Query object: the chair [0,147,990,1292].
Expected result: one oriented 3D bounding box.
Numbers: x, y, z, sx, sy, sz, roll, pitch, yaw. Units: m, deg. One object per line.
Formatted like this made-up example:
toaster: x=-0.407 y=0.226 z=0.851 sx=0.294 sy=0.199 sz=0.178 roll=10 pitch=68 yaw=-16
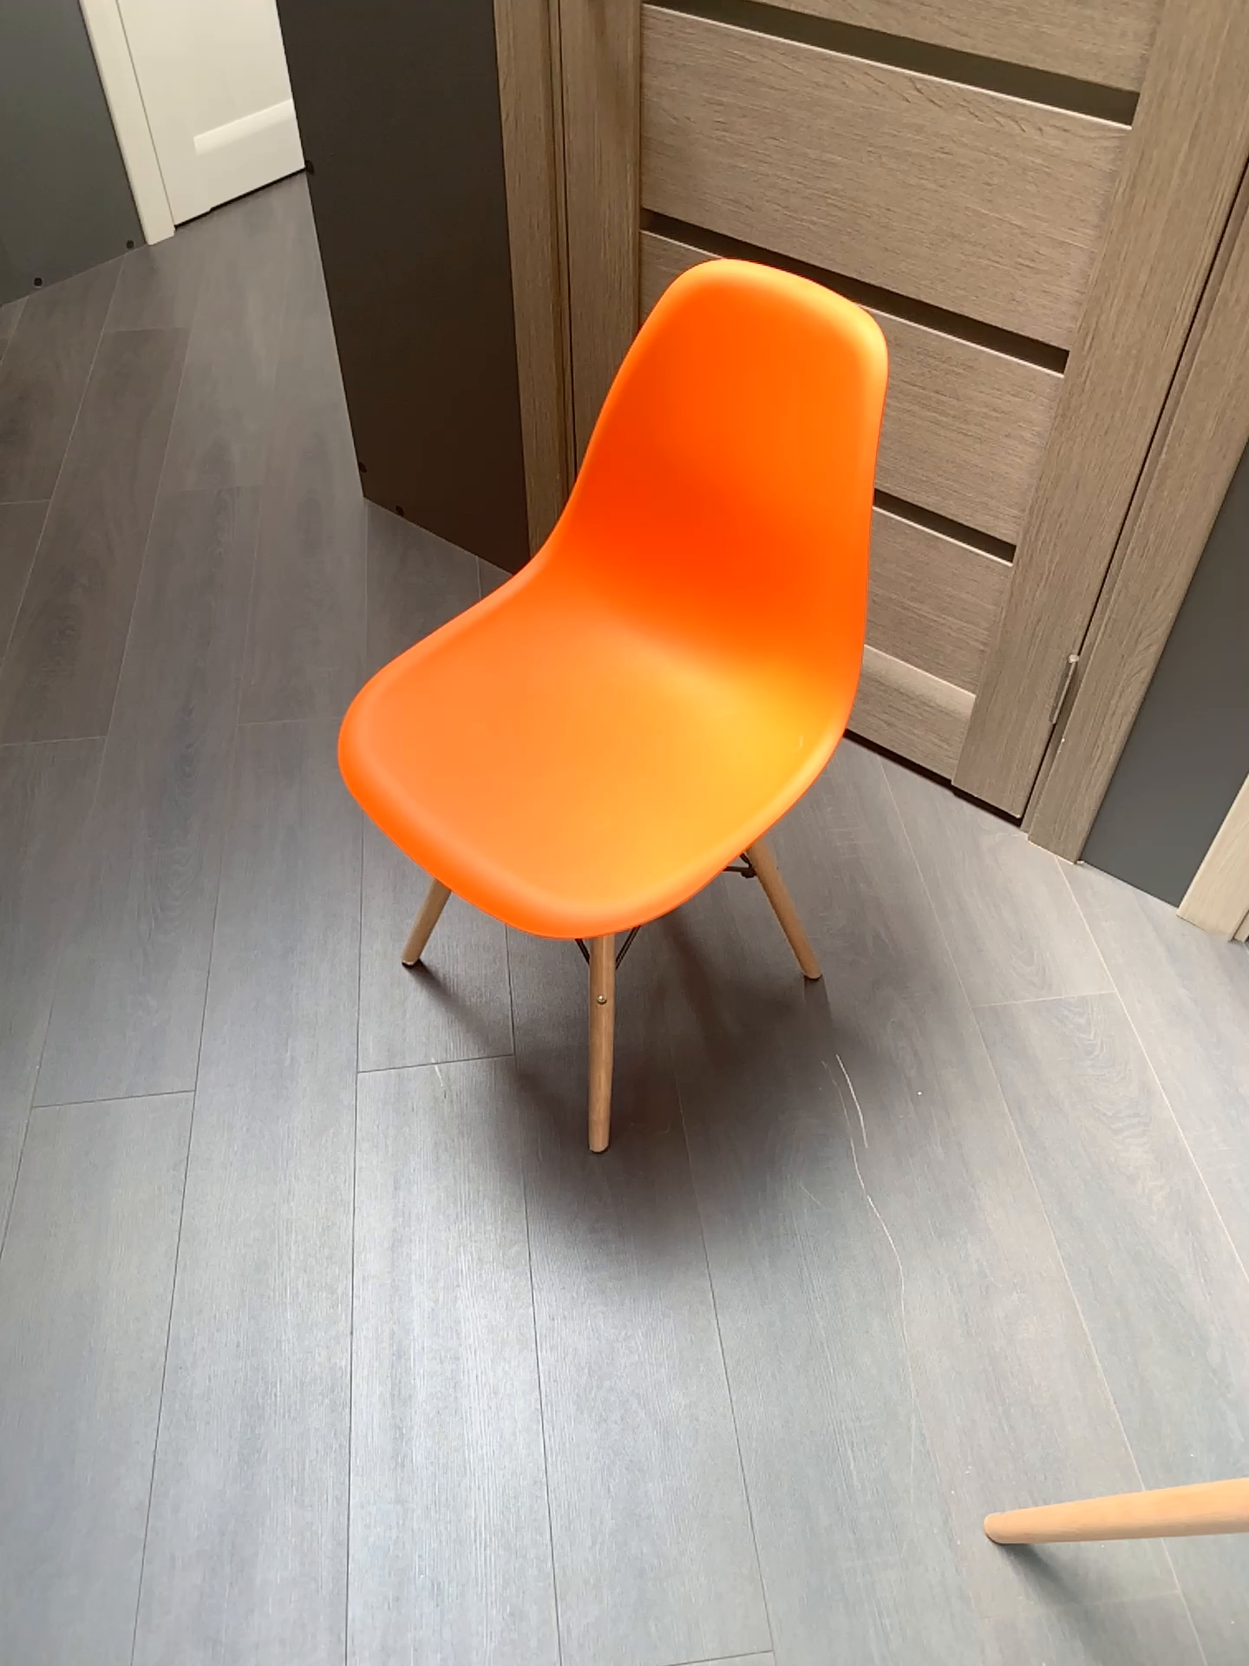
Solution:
chair: x=-0.118 y=-0.095 z=1.151 sx=0.521 sy=0.717 sz=0.531 roll=-36 pitch=57 yaw=-28
